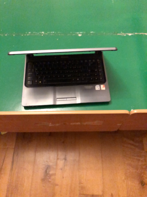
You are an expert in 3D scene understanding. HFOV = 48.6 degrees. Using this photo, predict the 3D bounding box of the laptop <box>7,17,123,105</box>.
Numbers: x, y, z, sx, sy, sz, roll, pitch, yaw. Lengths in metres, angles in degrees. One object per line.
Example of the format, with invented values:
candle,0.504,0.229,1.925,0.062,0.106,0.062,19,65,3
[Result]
laptop,-0.025,-0.126,0.569,0.316,0.171,0.227,-3,64,-2
